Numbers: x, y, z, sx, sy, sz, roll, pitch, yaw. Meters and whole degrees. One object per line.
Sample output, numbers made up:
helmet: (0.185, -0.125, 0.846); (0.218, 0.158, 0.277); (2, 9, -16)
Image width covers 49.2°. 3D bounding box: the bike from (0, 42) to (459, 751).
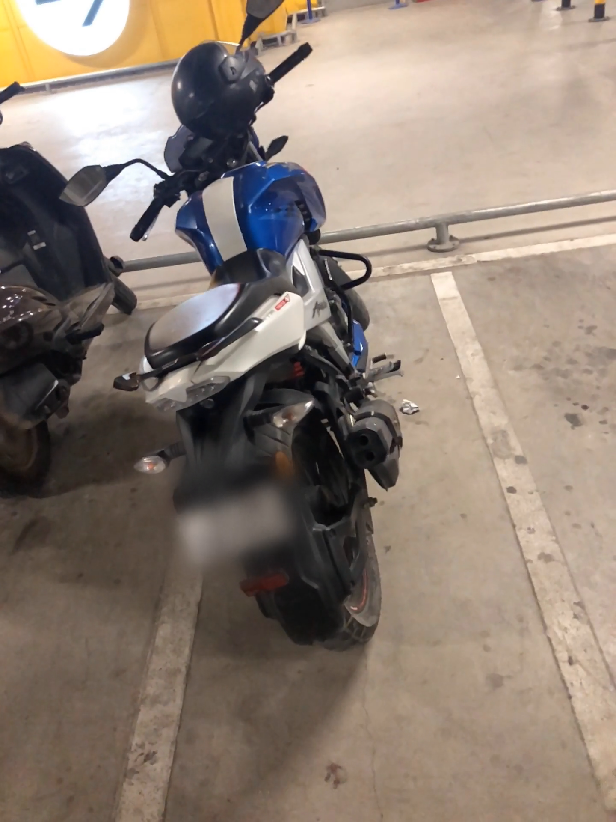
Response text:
bike: (-0.252, -0.293, 2.024); (0.806, 1.162, 1.996); (-11, 34, 1)
